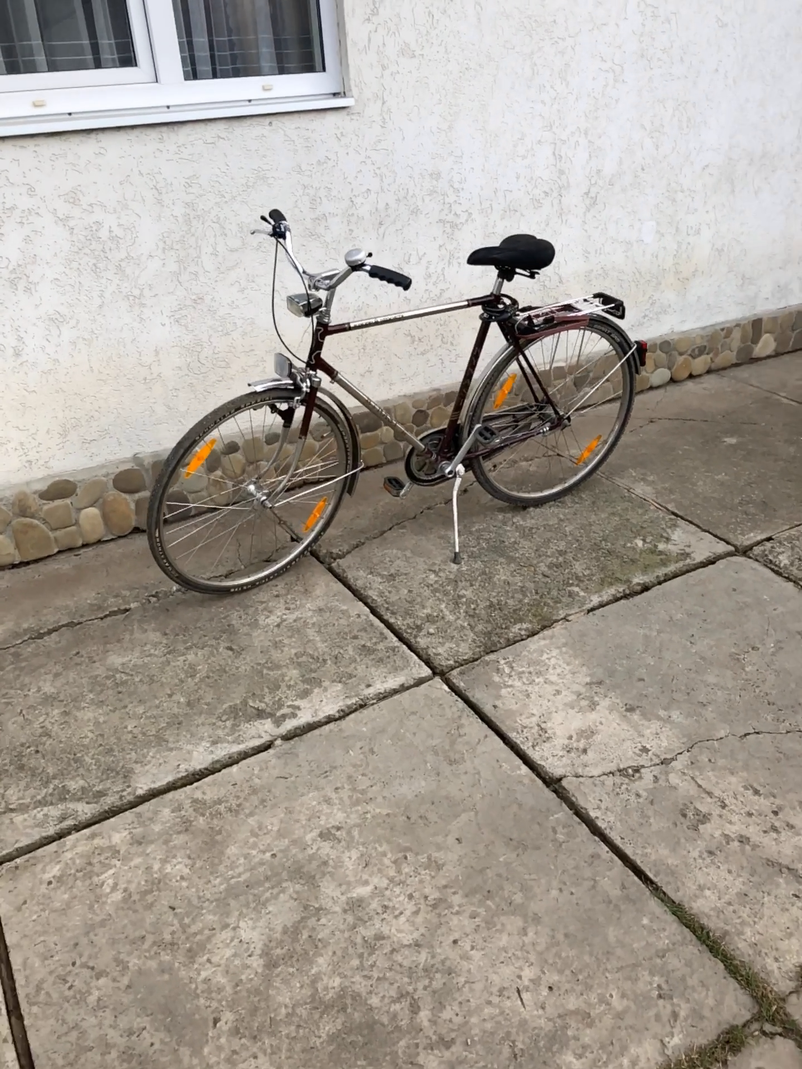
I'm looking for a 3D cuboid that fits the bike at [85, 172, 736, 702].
[{"bbox_3d":[0.100,-0.397,2.611,1.714,1.055,0.599,-18,32,-25],"label":"bike"}]
